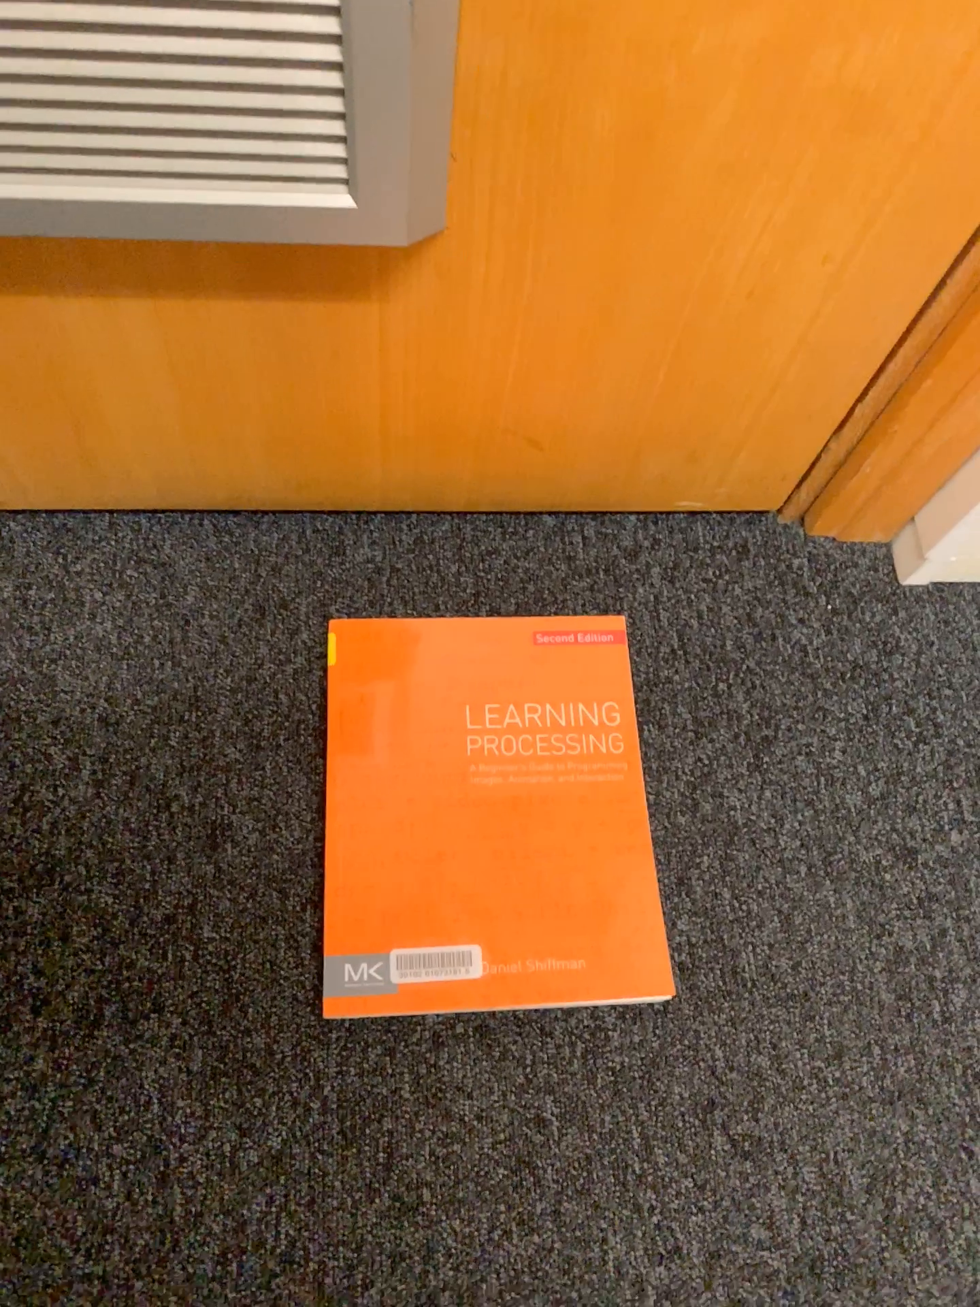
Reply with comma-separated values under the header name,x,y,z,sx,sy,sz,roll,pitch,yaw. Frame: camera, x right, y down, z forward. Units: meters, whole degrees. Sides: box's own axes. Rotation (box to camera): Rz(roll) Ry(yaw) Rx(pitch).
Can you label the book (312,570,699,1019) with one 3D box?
name,x,y,z,sx,sy,sz,roll,pitch,yaw
book,0.001,0.076,0.606,0.210,0.040,0.261,-1,67,-6
